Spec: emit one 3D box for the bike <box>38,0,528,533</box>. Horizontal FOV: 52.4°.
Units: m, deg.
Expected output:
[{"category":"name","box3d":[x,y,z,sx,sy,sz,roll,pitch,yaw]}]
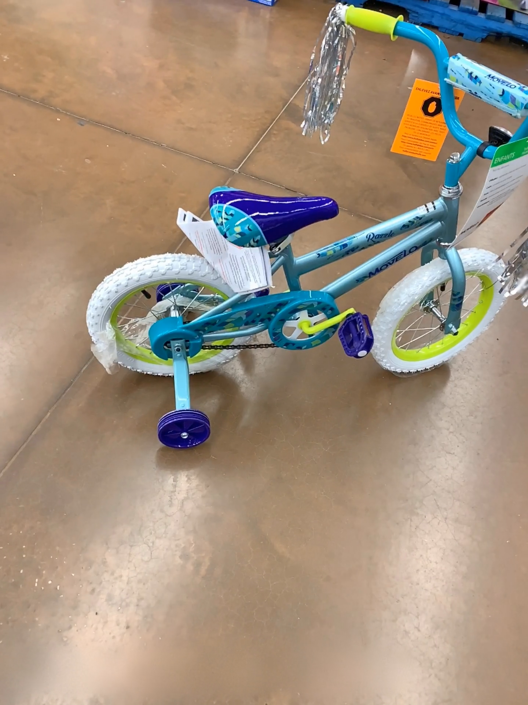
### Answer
[{"category":"bike","box3d":[0.140,-0.182,0.942,0.859,0.639,0.625,-7,53,-16]}]
